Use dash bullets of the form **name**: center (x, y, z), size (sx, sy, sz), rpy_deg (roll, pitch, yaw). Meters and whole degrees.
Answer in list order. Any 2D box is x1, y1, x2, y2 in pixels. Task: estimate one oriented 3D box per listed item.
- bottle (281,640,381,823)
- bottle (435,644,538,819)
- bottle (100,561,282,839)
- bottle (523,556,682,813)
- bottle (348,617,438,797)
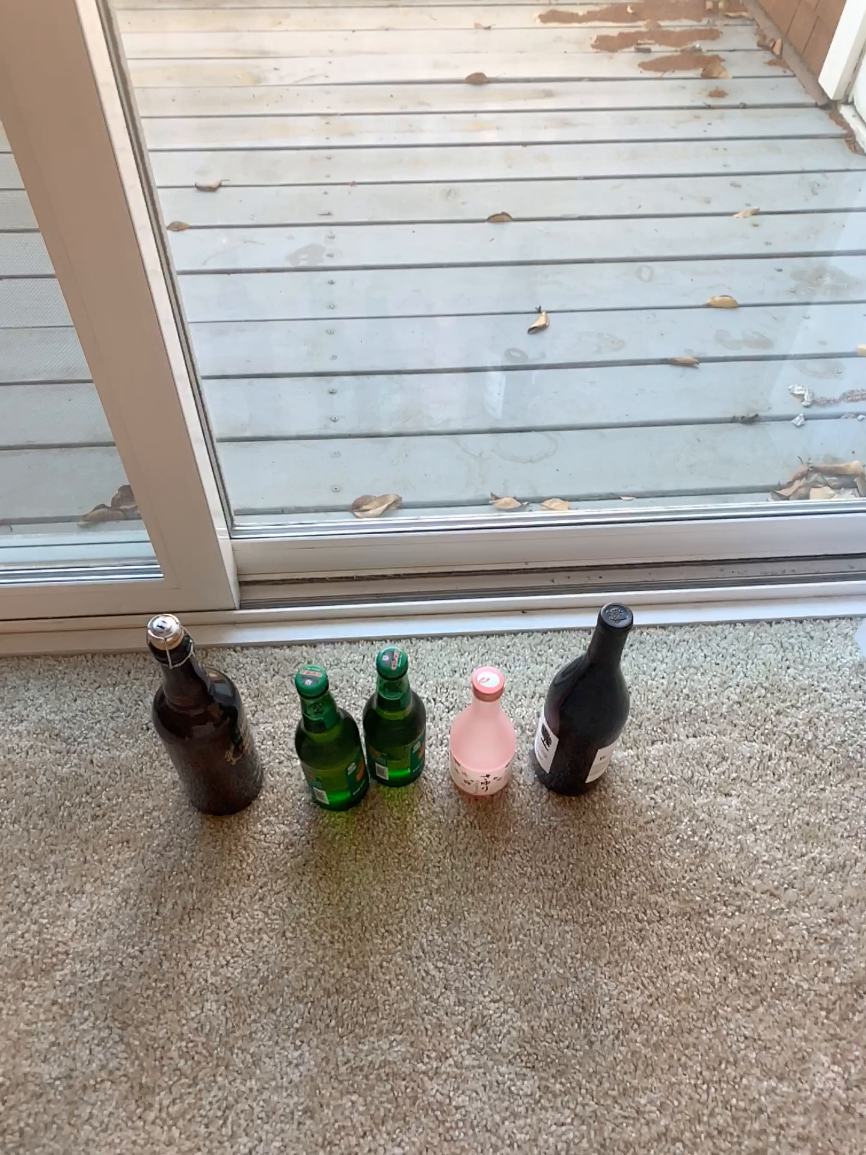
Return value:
- **bottle**: center (-0.092, 0.148, 0.826), size (0.070, 0.189, 0.080), rpy_deg (-8, 54, -8)
- **bottle**: center (0.048, 0.149, 0.835), size (0.070, 0.169, 0.080), rpy_deg (13, 54, 8)
- **bottle**: center (-0.207, 0.121, 0.792), size (0.090, 0.279, 0.100), rpy_deg (-15, 54, -13)
- **bottle**: center (0.152, 0.109, 0.827), size (0.090, 0.249, 0.110), rpy_deg (13, 54, 8)
- **bottle**: center (-0.039, 0.128, 0.842), size (0.070, 0.189, 0.080), rpy_deg (-5, 53, -6)
